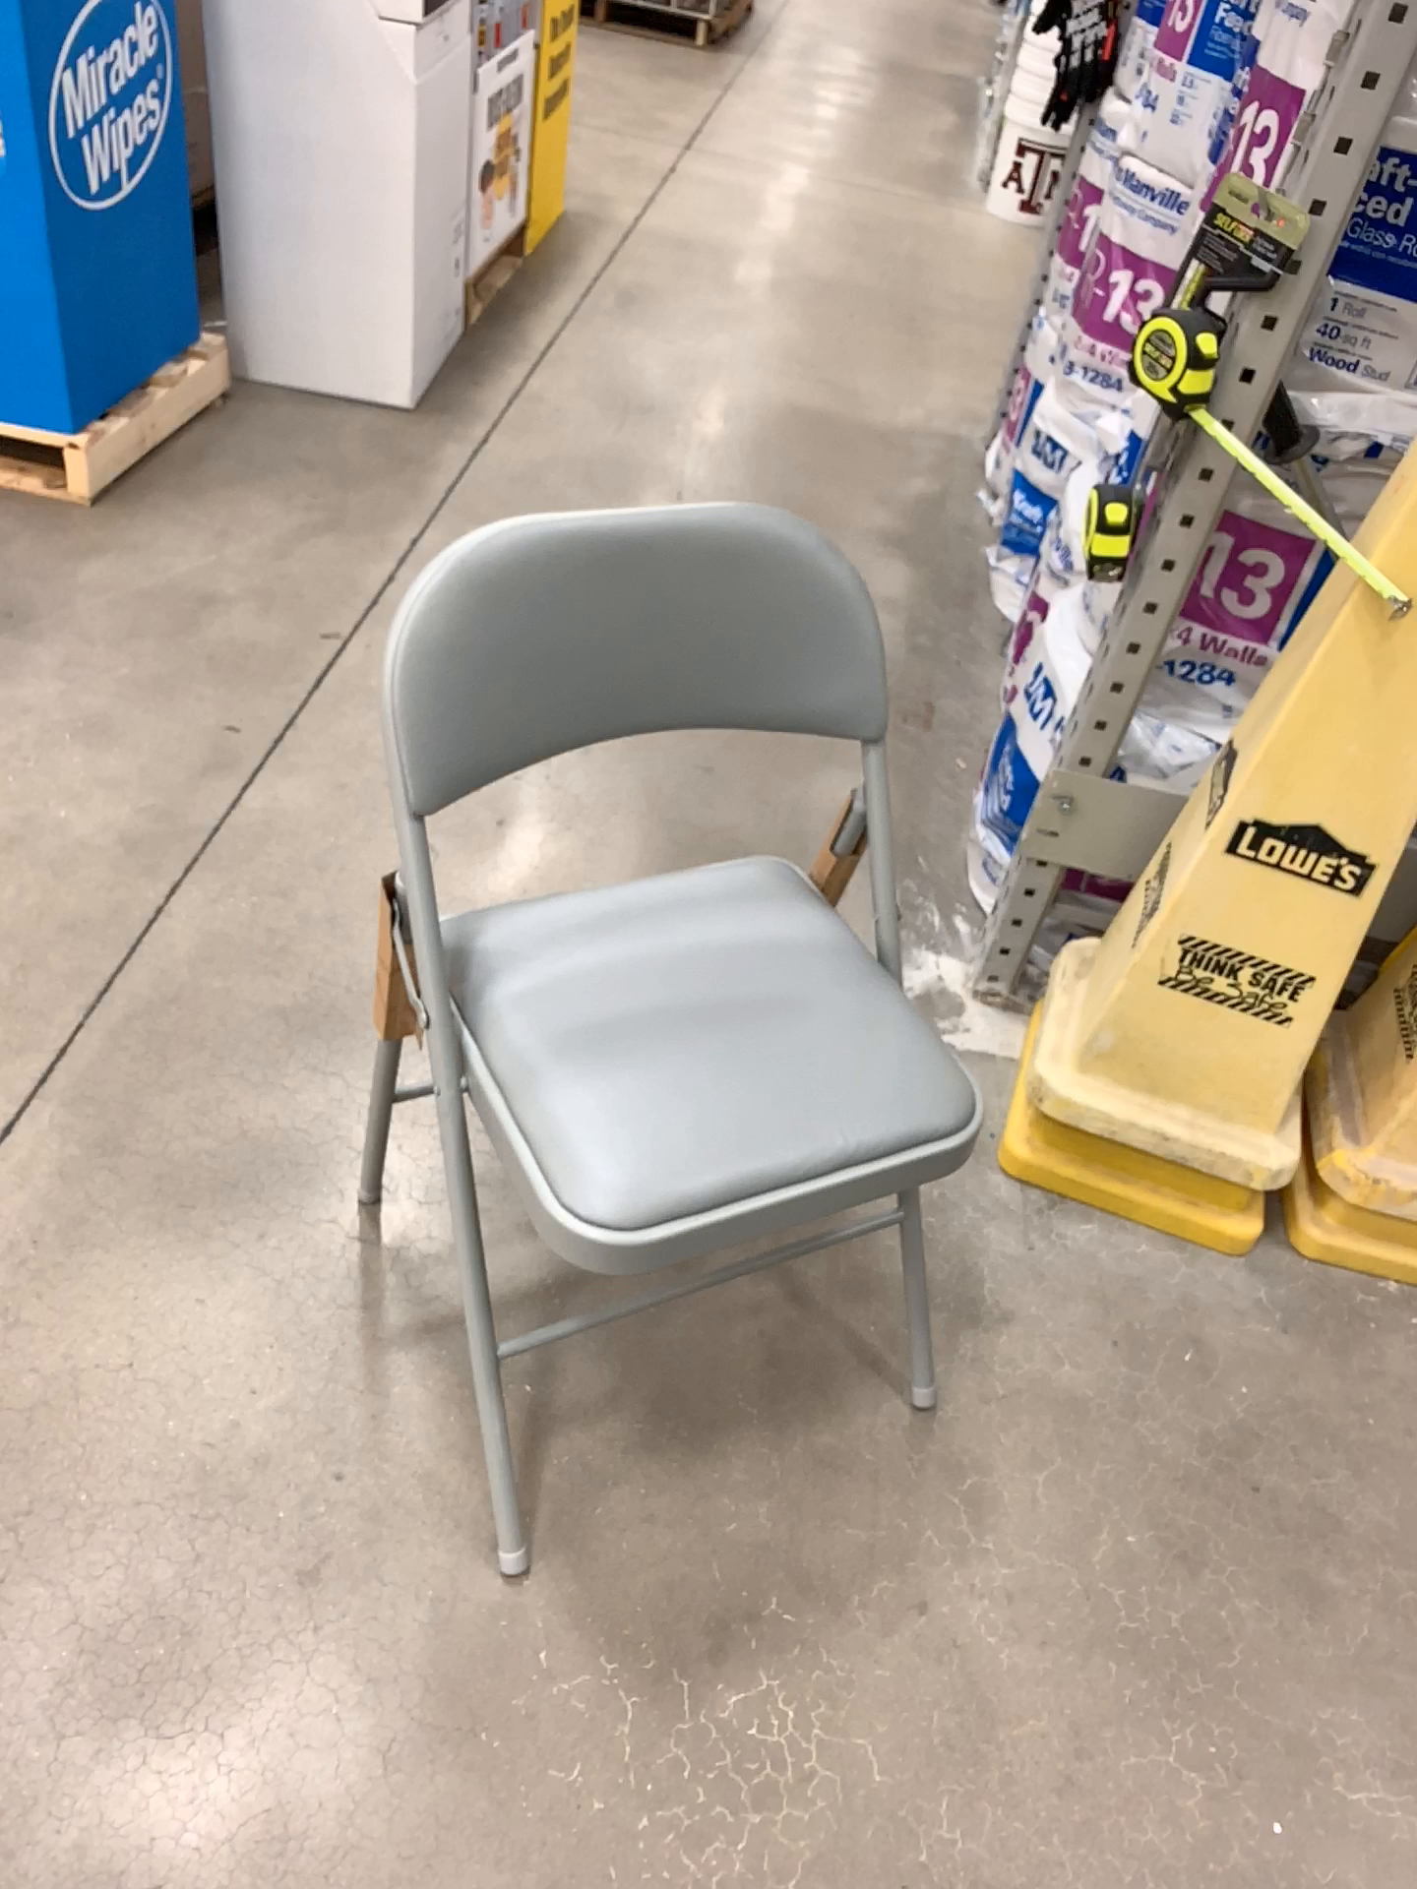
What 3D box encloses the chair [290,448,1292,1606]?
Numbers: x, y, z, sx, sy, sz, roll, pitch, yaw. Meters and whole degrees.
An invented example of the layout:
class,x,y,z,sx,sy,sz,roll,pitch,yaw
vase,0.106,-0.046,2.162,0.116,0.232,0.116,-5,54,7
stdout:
class,x,y,z,sx,sy,sz,roll,pitch,yaw
chair,-0.020,0.057,1.170,0.488,0.709,0.486,-12,46,-25
